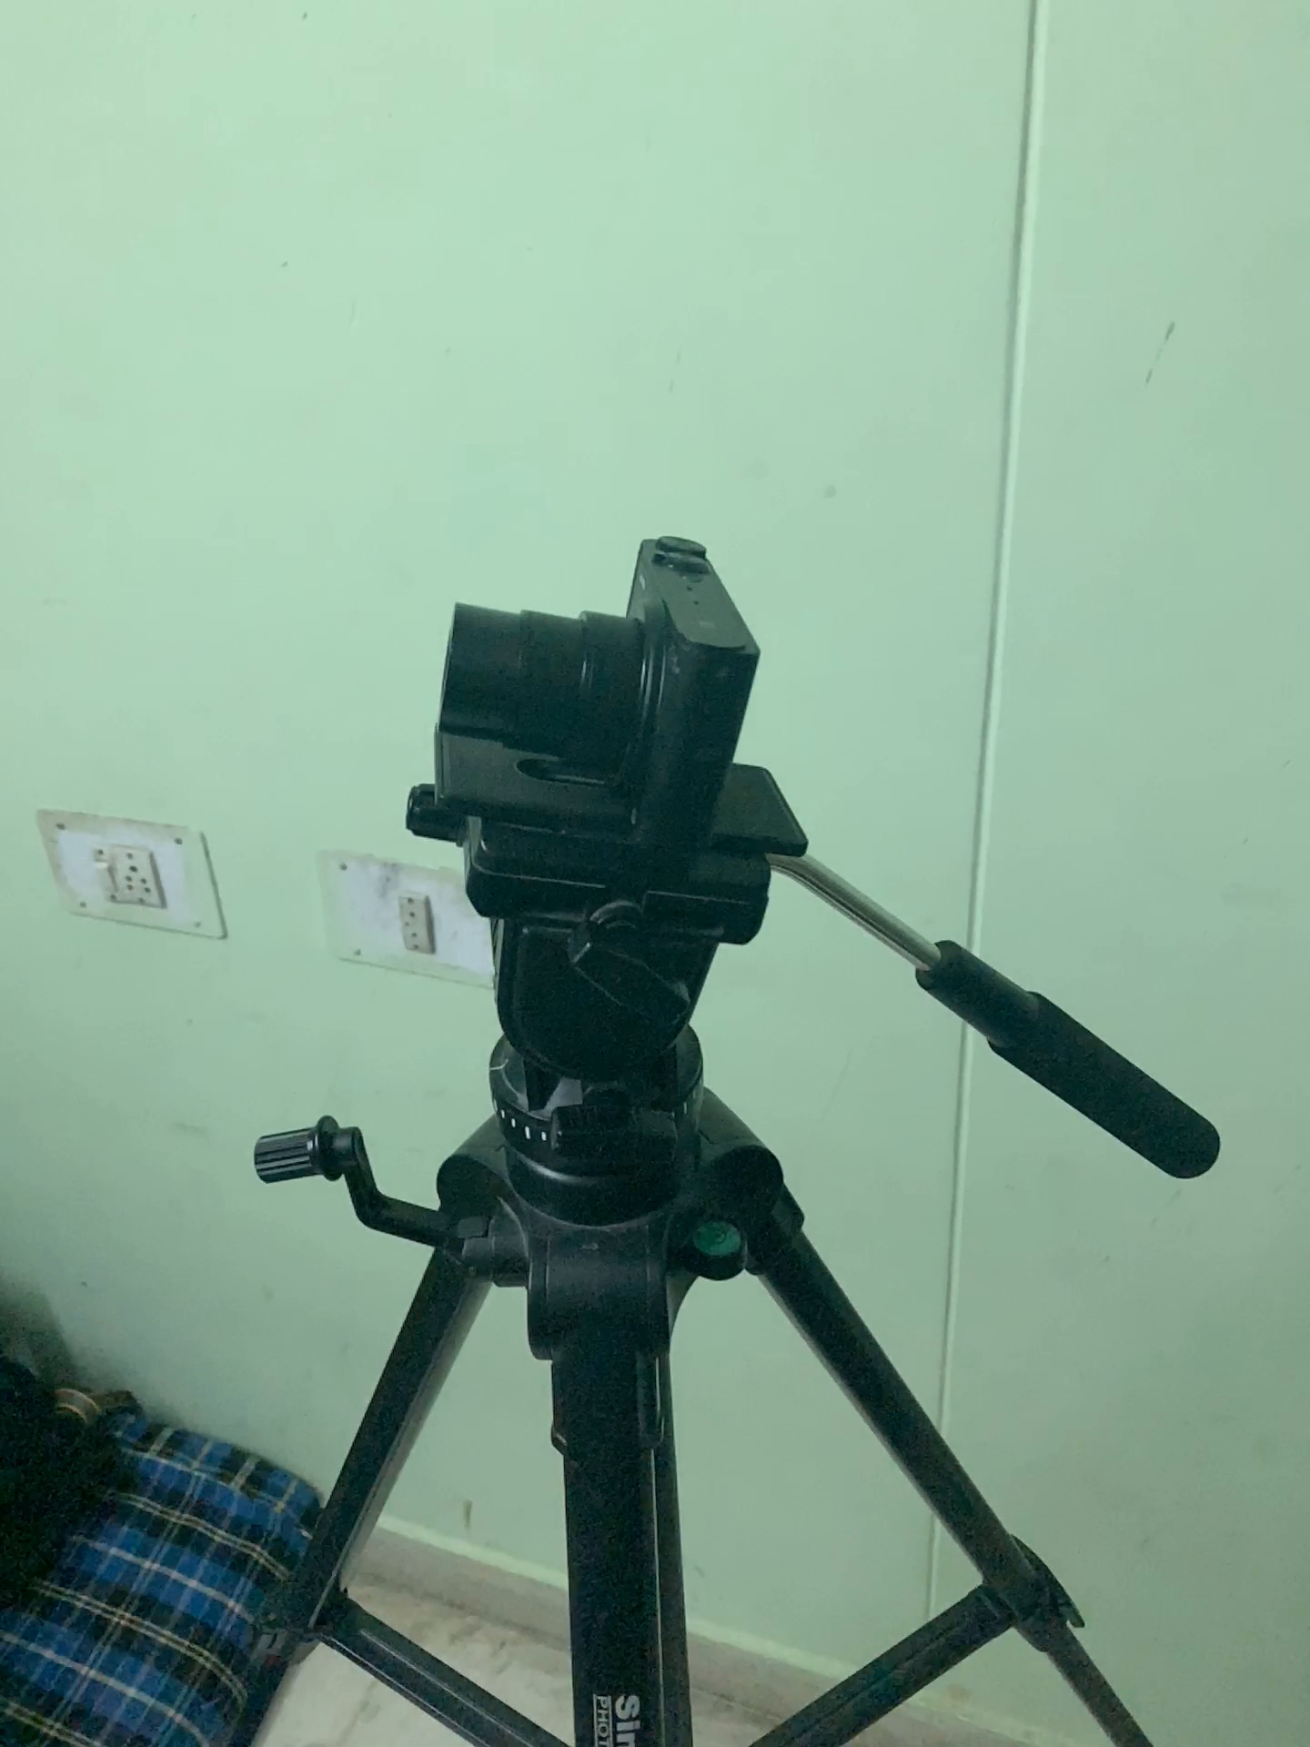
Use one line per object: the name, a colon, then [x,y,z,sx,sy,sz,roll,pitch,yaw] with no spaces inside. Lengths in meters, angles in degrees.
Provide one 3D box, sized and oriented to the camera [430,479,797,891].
camera: [-0.017,-0.051,0.337,0.067,0.060,0.103,9,25,-14]
